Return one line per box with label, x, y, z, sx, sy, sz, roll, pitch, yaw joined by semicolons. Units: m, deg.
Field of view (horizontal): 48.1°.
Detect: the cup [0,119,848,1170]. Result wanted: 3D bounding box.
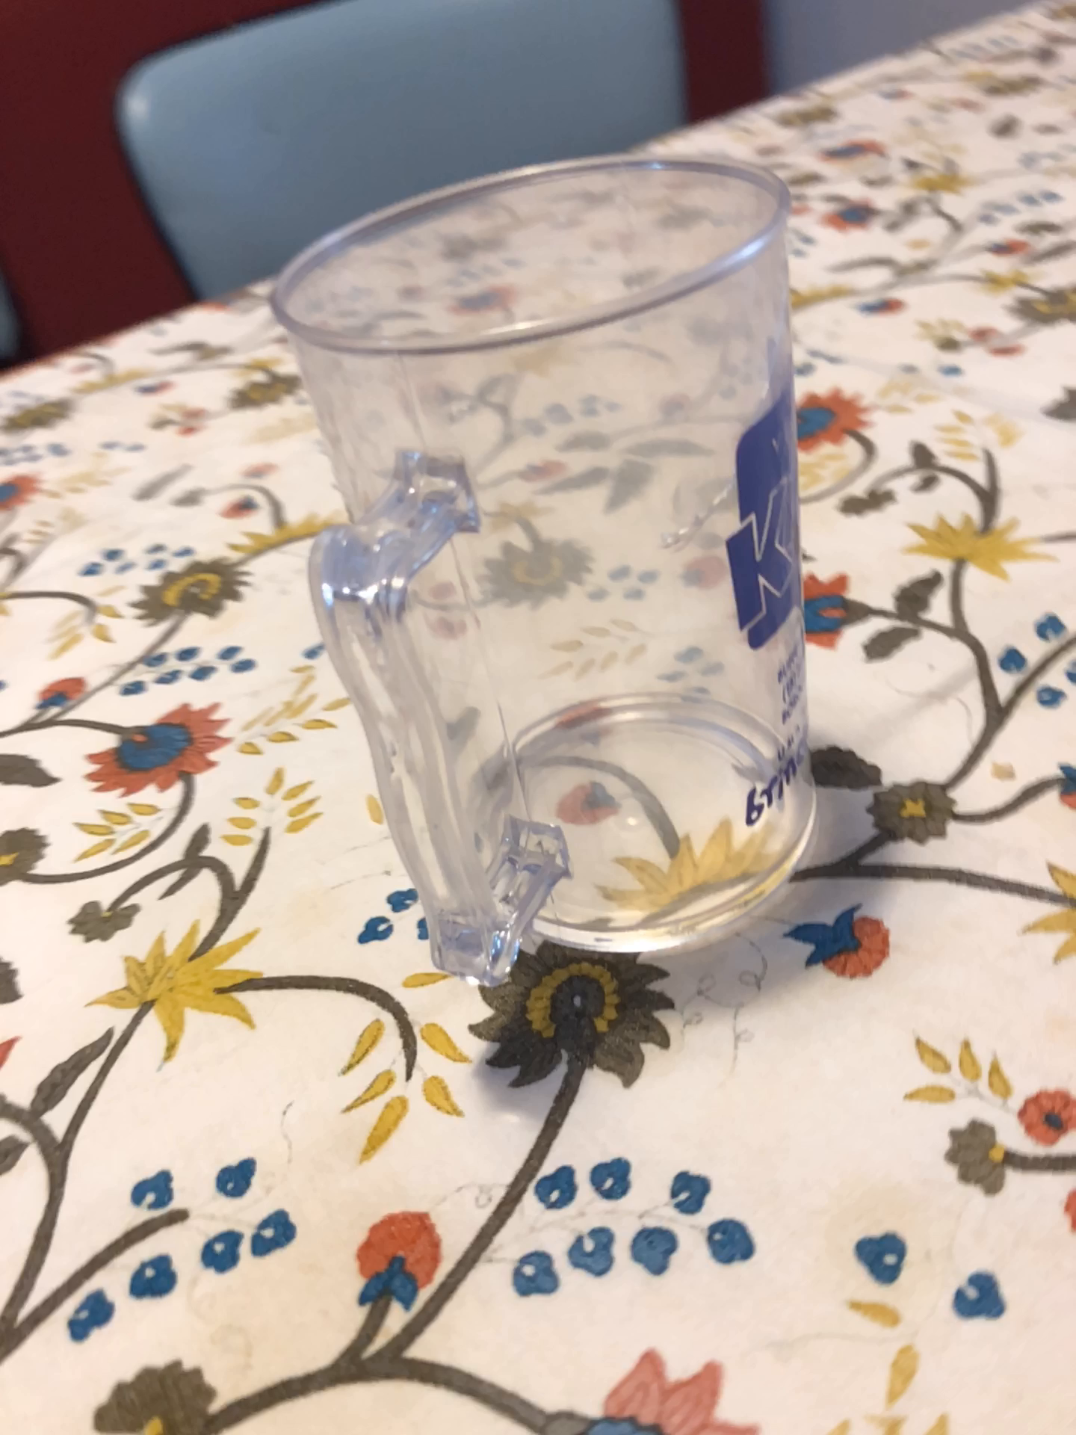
cup;-0.005;-0.017;0.193;0.080;0.109;0.111;7;42;25
